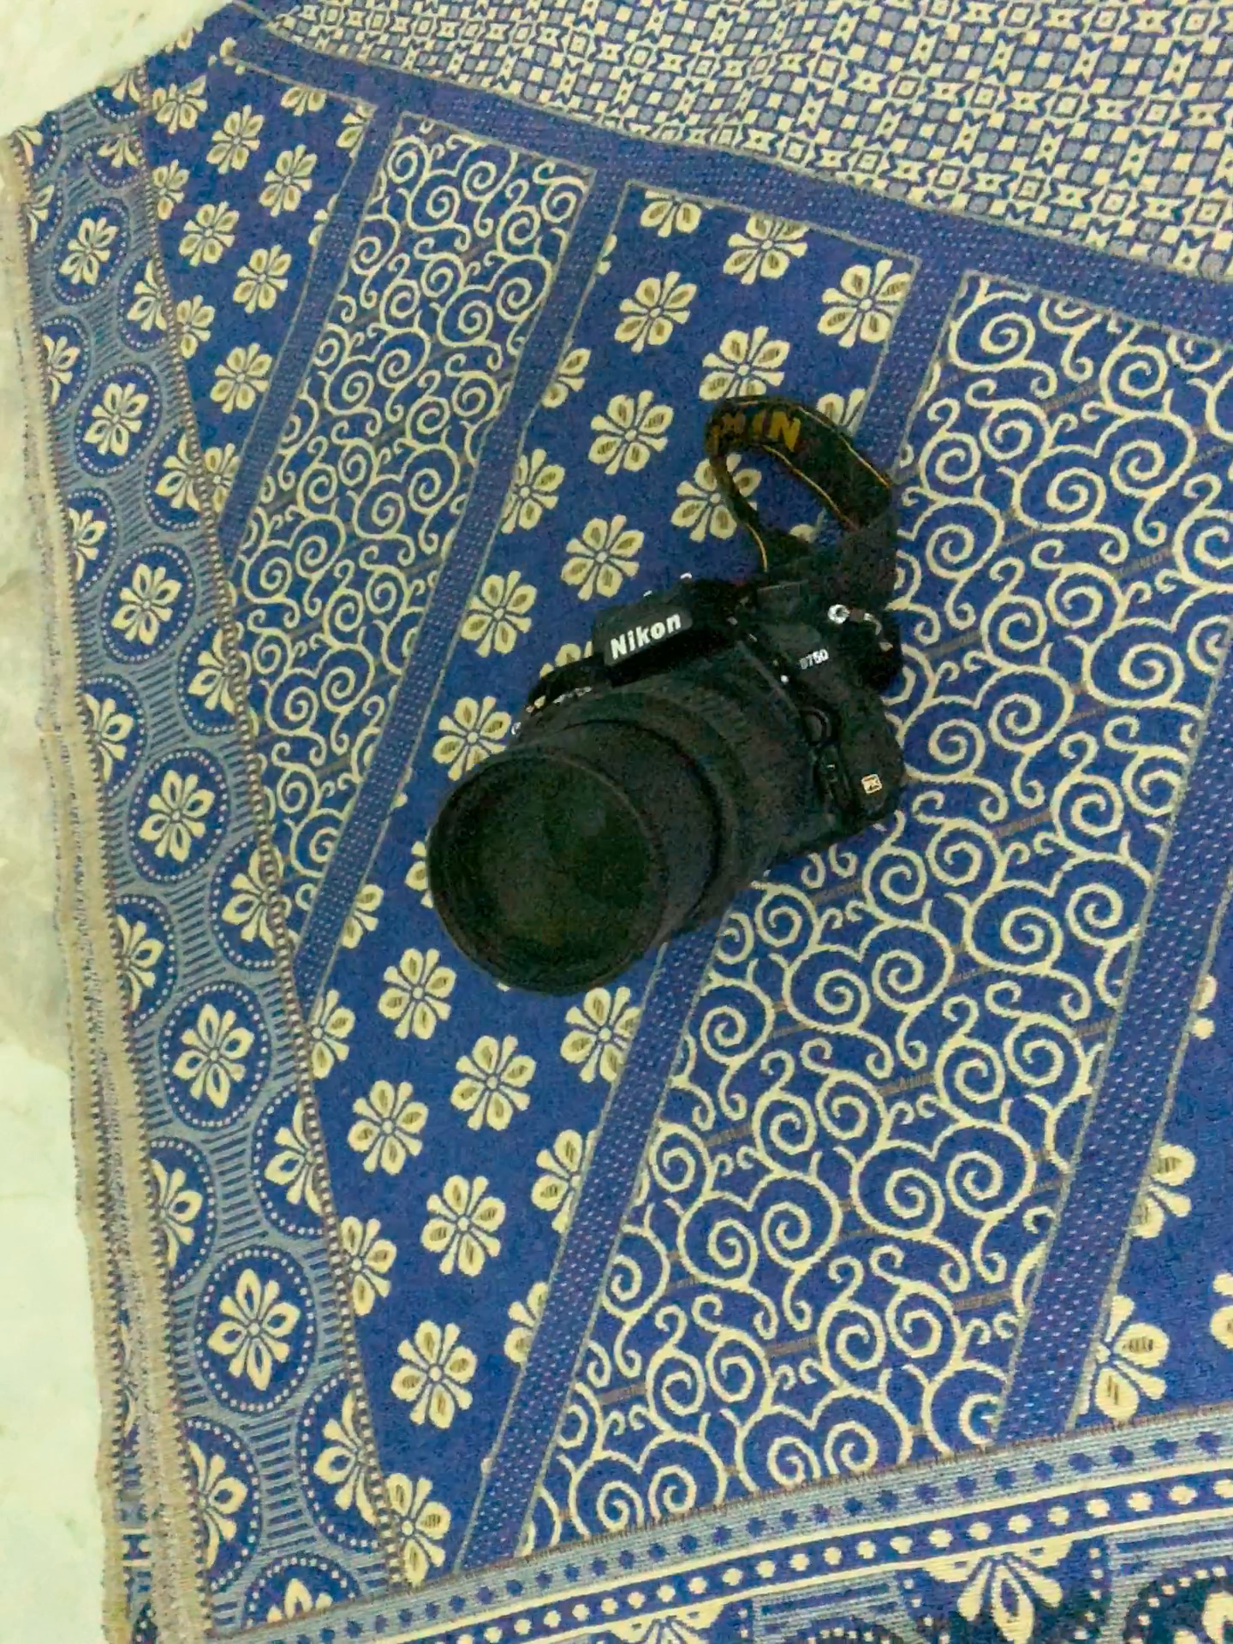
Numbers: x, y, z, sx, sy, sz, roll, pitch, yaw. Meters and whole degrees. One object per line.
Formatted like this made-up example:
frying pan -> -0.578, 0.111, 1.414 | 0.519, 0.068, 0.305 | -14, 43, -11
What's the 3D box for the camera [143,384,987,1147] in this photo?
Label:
camera -> 0.002, -0.011, 0.385 | 0.160, 0.191, 0.130 | -22, 85, 21
